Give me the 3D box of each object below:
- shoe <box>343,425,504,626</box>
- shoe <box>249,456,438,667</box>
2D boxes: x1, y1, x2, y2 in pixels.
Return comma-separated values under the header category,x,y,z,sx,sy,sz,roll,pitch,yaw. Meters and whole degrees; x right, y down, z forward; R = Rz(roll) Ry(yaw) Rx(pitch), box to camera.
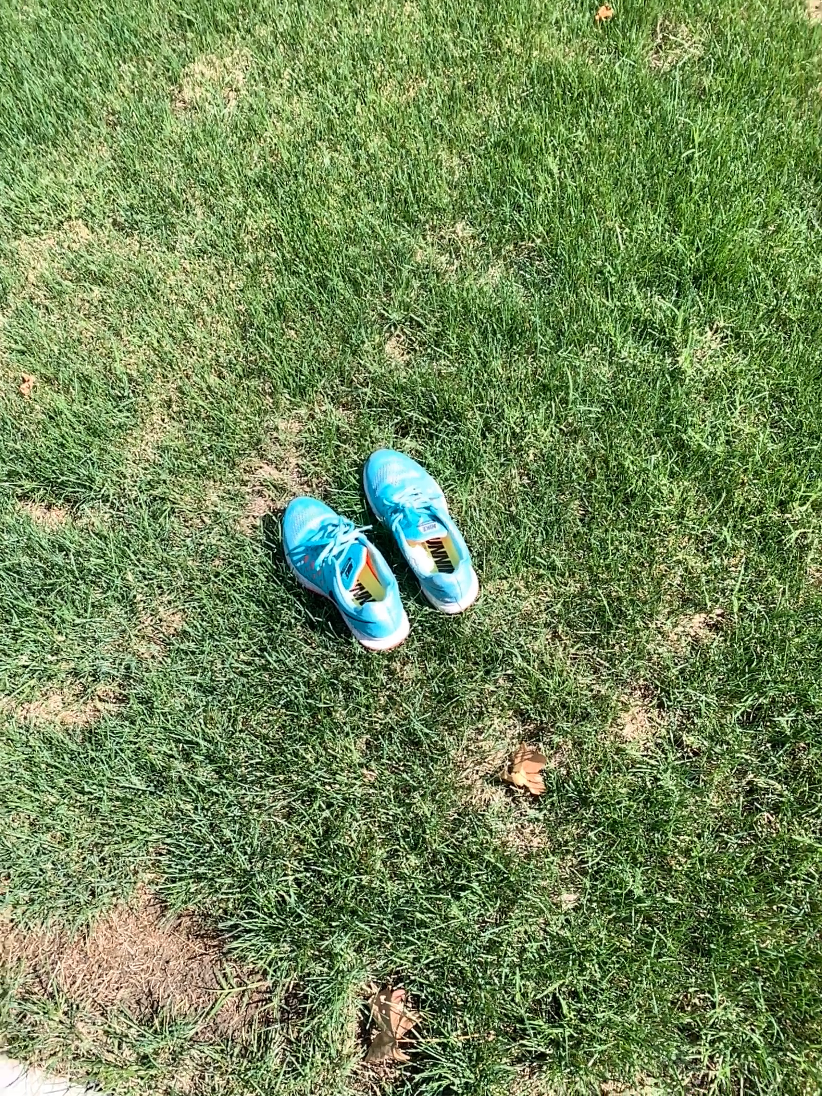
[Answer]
category,x,y,z,sx,sy,sz,roll,pitch,yaw
shoe,0.014,-0.033,1.150,0.100,0.080,0.250,-29,69,-10
shoe,-0.091,0.017,1.140,0.110,0.100,0.260,-38,71,-14
